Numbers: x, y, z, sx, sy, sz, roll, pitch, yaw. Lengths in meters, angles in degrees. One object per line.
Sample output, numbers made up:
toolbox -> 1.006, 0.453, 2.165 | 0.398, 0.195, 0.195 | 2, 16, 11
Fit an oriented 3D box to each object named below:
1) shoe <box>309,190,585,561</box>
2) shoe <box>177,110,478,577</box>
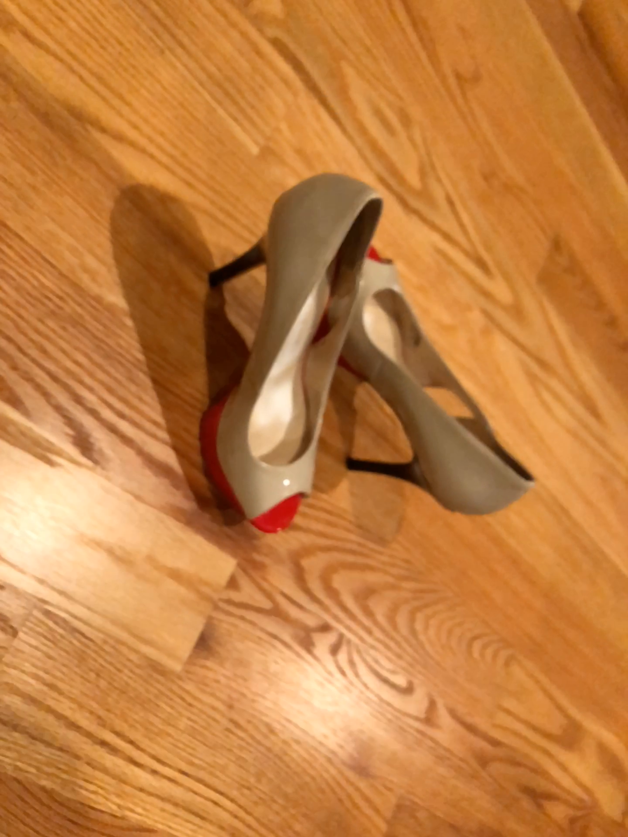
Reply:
shoe -> 0.089, -0.026, 0.497 | 0.080, 0.149, 0.220 | -10, 95, -40
shoe -> 0.004, -0.035, 0.400 | 0.085, 0.129, 0.215 | -8, 93, -40
